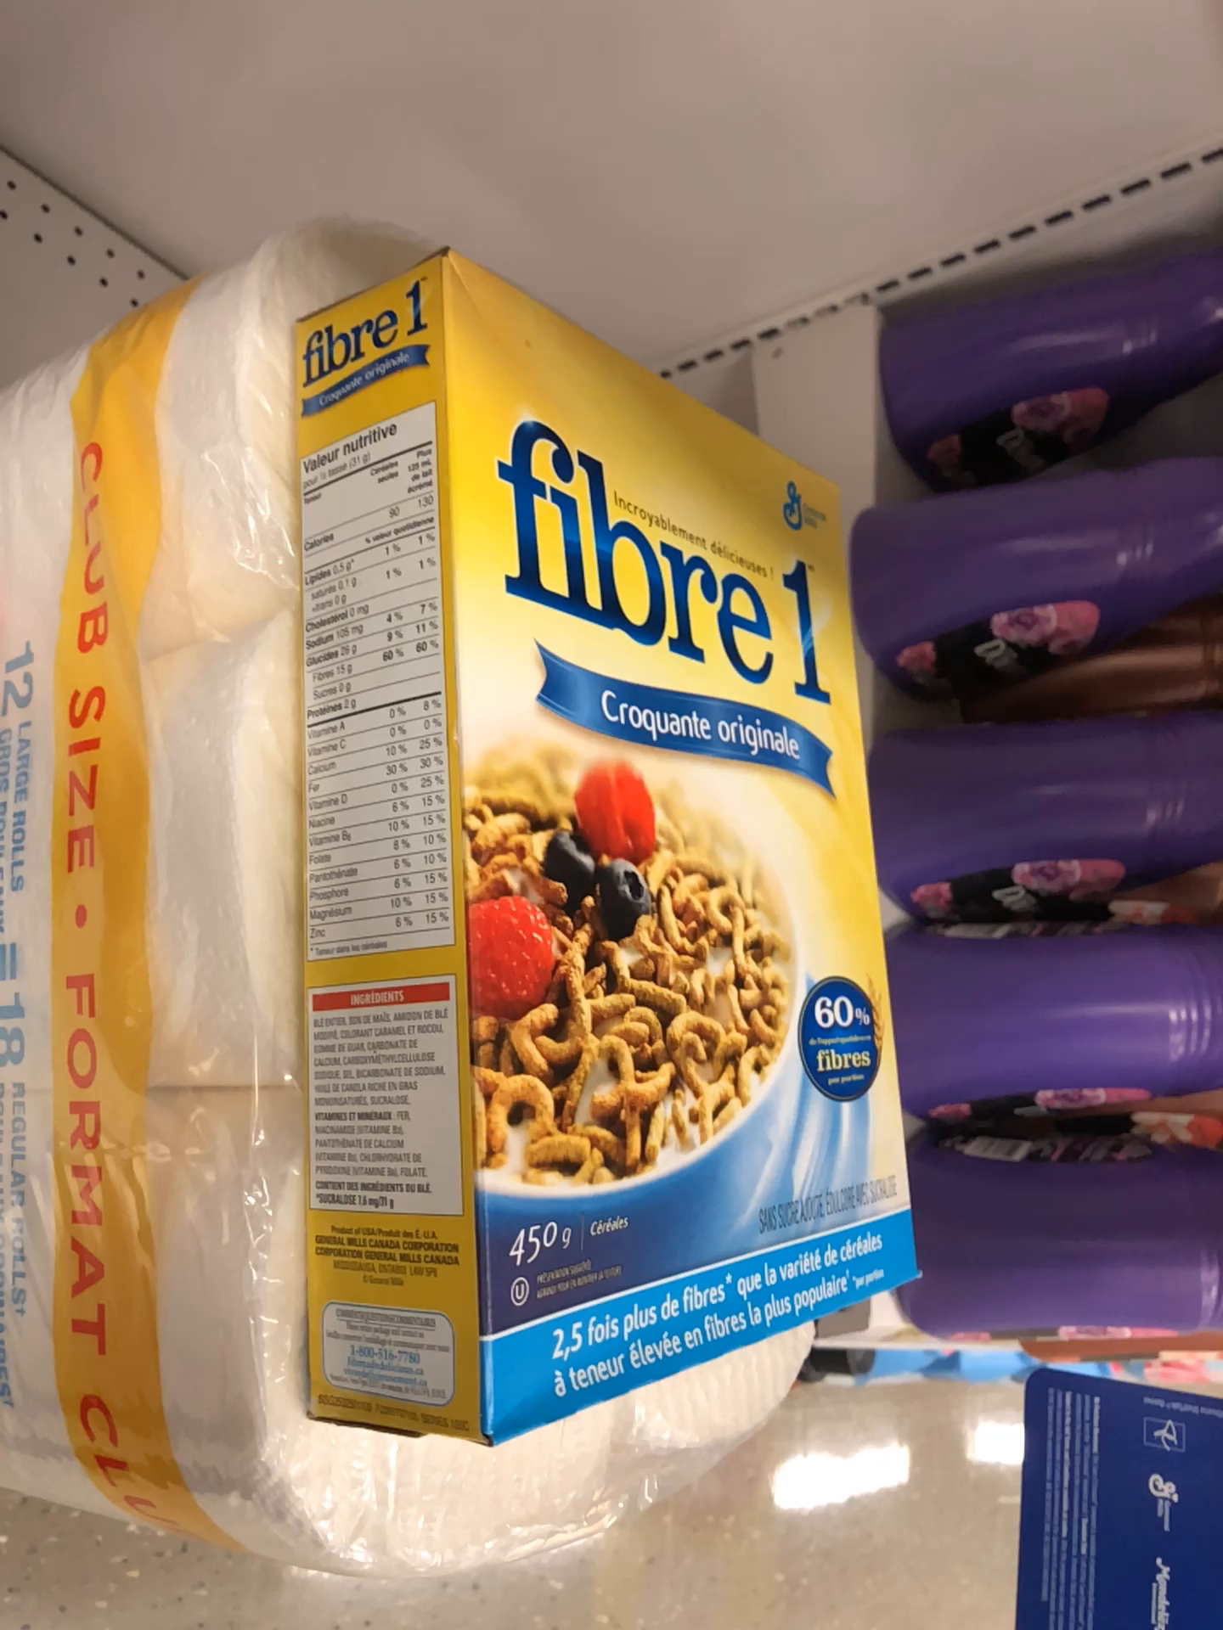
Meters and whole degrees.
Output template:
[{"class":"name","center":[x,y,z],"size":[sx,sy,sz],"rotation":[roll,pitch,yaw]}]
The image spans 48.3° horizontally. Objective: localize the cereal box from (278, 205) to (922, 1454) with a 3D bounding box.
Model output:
[{"class":"cereal box","center":[0.009,0.008,0.379],"size":[0.201,0.060,0.260],"rotation":[9,77,-52]}]
